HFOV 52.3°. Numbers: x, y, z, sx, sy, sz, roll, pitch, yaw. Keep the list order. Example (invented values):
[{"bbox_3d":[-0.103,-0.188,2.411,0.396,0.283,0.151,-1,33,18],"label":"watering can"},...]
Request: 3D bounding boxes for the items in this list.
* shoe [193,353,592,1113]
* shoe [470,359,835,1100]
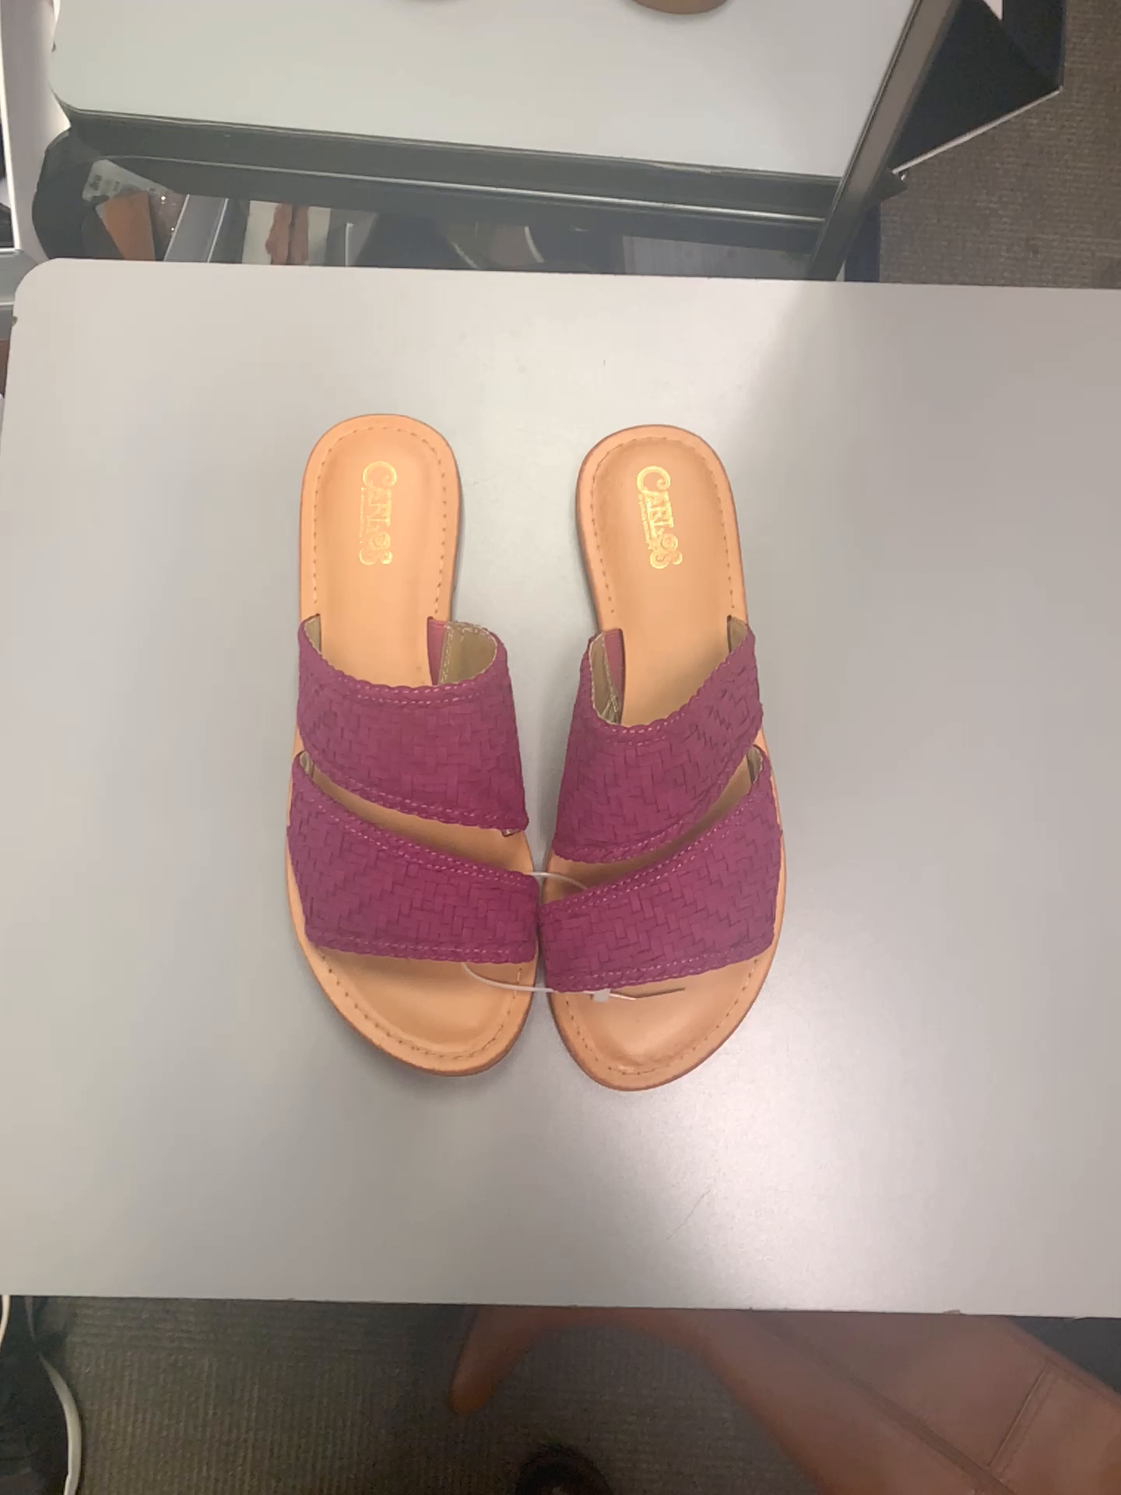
[{"bbox_3d":[-0.059,-0.006,0.396,0.108,0.071,0.238,-5,77,-4],"label":"shoe"},{"bbox_3d":[0.030,-0.006,0.399,0.108,0.071,0.238,3,77,-3],"label":"shoe"}]
